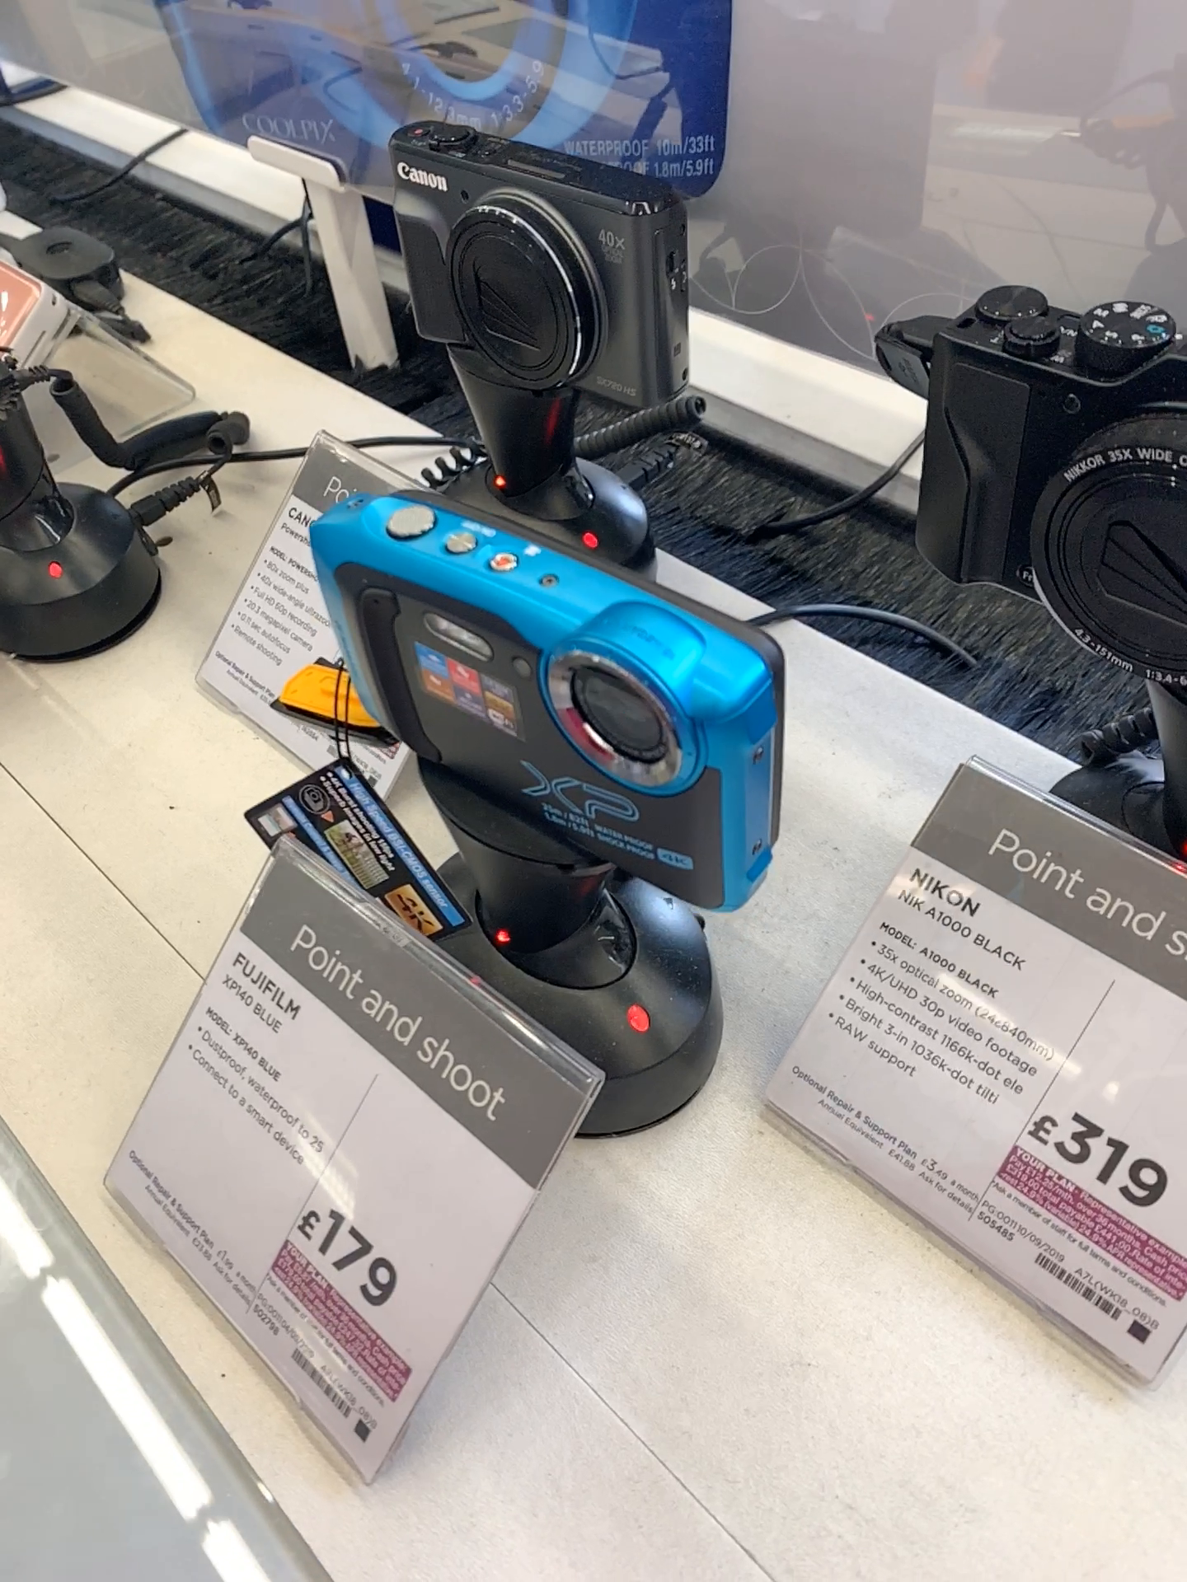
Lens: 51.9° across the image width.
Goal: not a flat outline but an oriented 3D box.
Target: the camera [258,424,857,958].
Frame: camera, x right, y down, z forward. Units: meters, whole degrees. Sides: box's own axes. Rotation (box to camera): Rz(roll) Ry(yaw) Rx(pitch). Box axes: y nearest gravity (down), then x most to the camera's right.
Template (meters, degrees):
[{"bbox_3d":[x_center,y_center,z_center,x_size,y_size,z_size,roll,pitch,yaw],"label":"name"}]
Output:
[{"bbox_3d":[-0.008,-0.022,0.232,0.110,0.059,0.030,27,56,28],"label":"camera"}]
